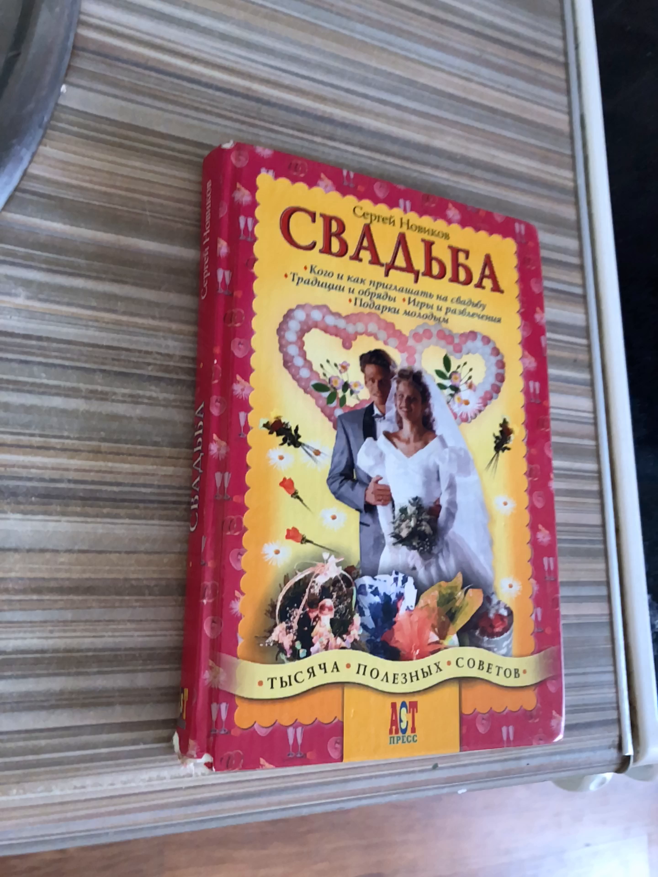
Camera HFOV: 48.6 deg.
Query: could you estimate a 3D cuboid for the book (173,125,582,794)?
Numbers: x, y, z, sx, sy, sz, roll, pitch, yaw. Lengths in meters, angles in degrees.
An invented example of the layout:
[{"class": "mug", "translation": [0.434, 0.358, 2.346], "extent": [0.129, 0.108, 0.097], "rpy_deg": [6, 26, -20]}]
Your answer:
[{"class": "book", "translation": [0.023, 0.004, 0.276], "extent": [0.150, 0.020, 0.220], "rpy_deg": [6, 76, -25]}]
